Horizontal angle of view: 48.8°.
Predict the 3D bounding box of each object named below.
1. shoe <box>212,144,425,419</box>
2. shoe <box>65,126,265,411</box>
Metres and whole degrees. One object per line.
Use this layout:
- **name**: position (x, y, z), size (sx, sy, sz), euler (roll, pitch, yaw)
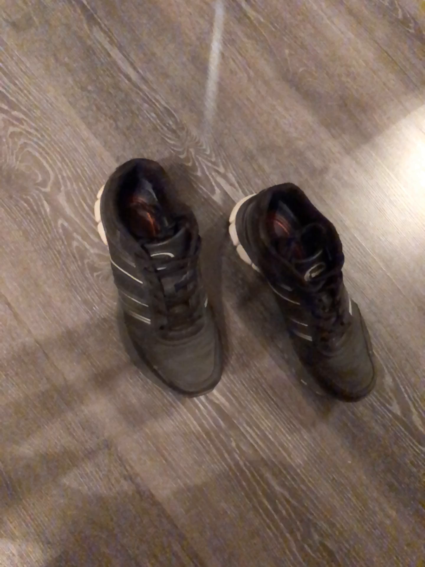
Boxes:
- **shoe**: position (0.116, 0.000, 0.516), size (0.110, 0.100, 0.260), euler (-26, 82, -15)
- **shoe**: position (-0.053, -0.013, 0.470), size (0.100, 0.090, 0.250), euler (-20, 80, -14)
